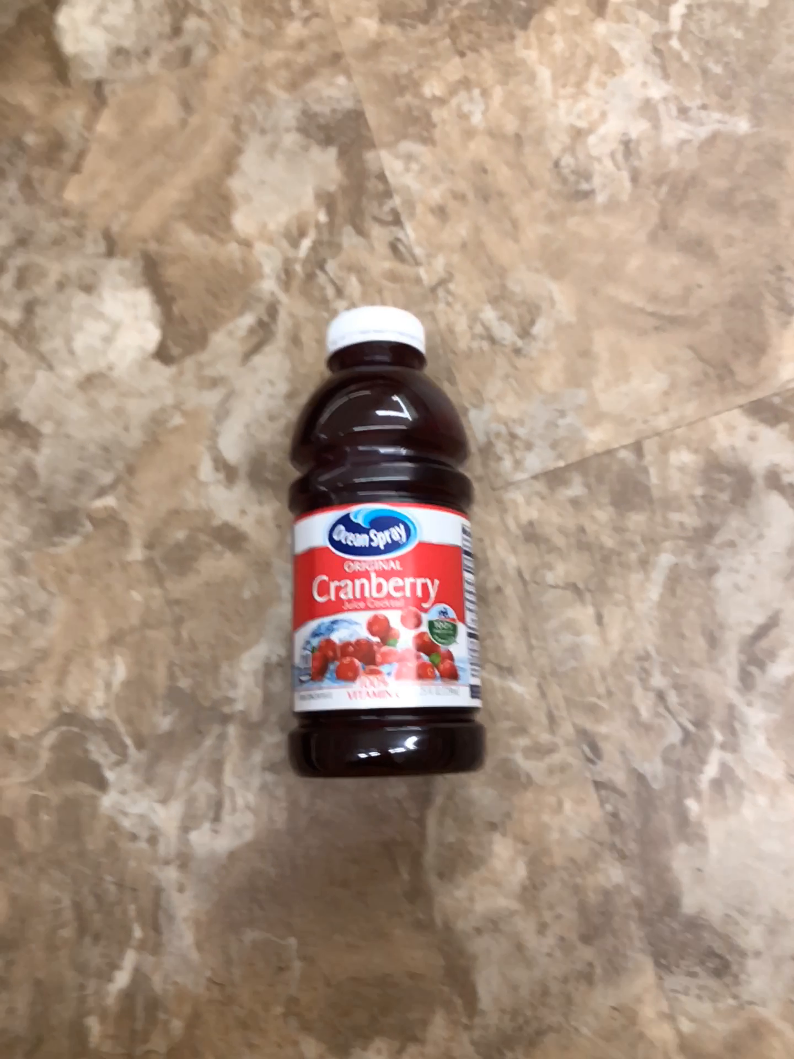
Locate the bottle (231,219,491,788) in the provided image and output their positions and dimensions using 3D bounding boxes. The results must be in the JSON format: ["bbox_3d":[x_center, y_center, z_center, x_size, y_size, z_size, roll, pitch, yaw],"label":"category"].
[{"bbox_3d":[-0.013,-0.007,0.388,0.089,0.083,0.226,-4,76,11],"label":"bottle"}]
